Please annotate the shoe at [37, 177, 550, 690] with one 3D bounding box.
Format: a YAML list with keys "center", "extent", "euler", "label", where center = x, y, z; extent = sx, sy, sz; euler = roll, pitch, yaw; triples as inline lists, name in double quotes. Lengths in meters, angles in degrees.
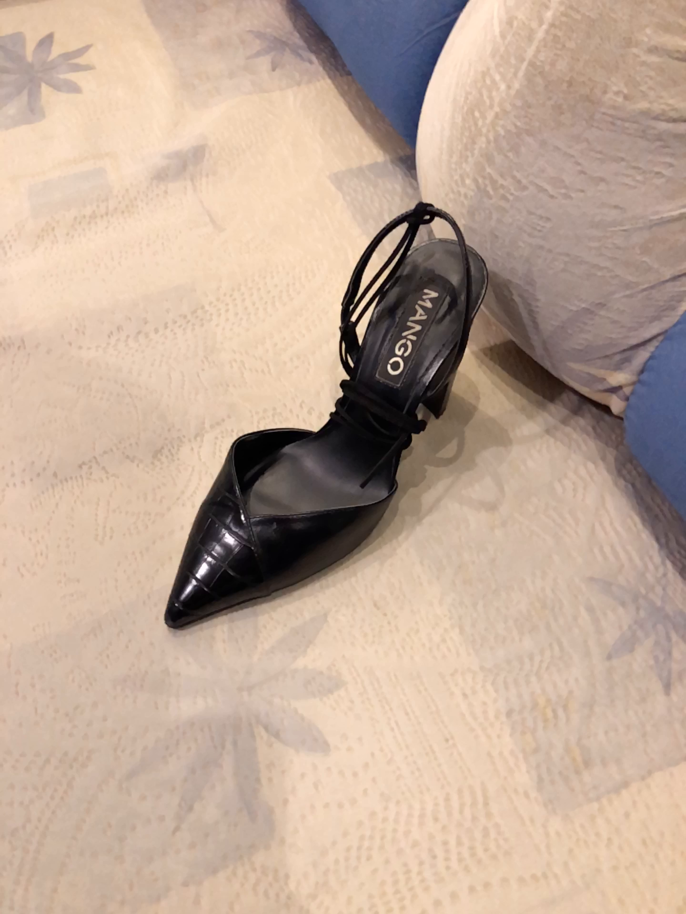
- center: [-0.011, -0.017, 0.384]
  extent: [0.083, 0.119, 0.241]
  euler: [37, 63, 21]
  label: "shoe"
